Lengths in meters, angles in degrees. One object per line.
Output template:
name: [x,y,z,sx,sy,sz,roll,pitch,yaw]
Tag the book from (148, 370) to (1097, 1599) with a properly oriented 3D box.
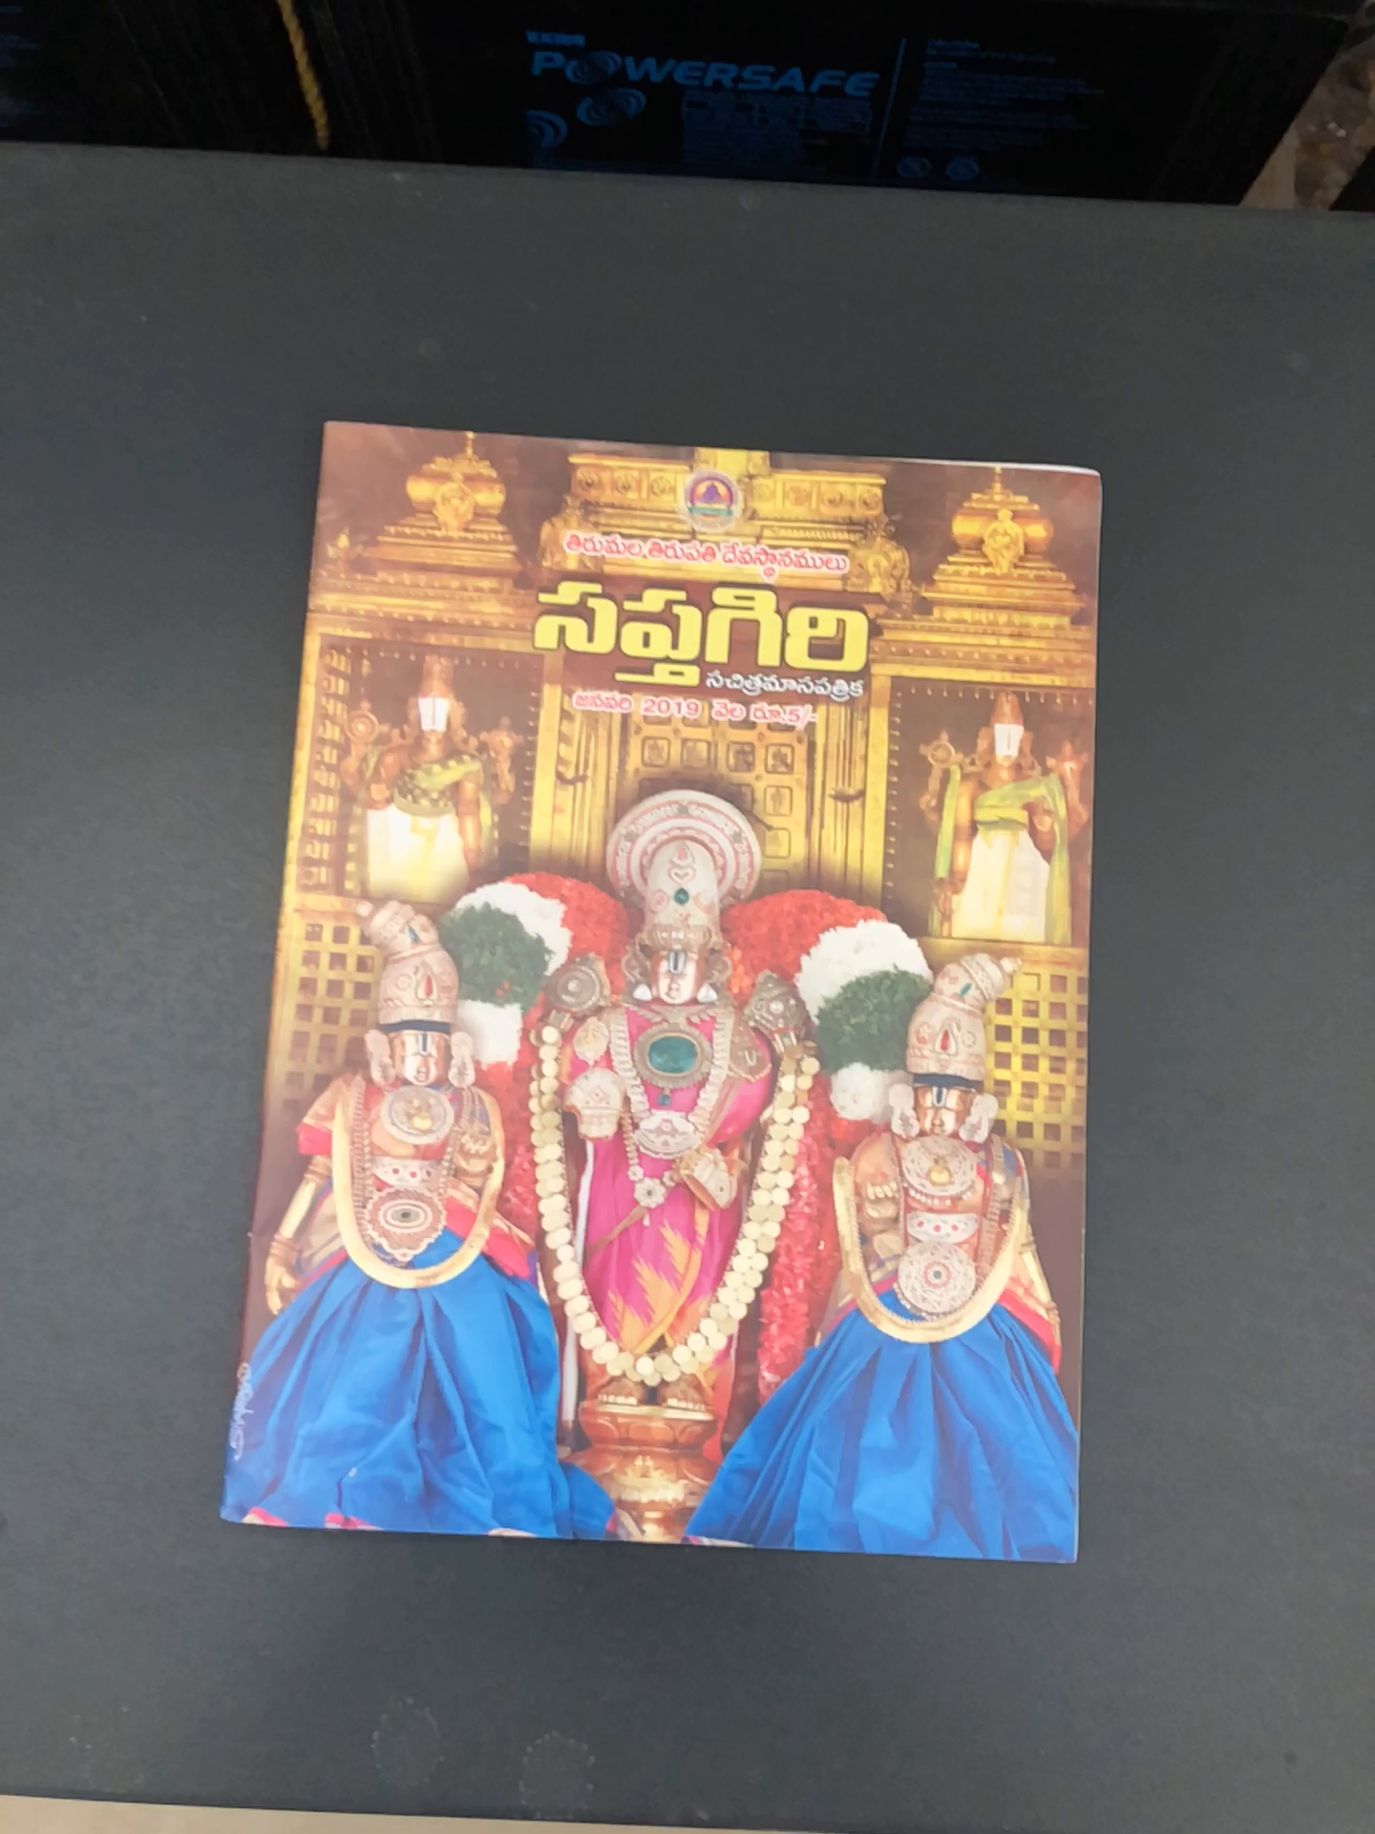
book: [-0.009,0.010,0.362,0.200,0.030,0.270,3,82,0]
